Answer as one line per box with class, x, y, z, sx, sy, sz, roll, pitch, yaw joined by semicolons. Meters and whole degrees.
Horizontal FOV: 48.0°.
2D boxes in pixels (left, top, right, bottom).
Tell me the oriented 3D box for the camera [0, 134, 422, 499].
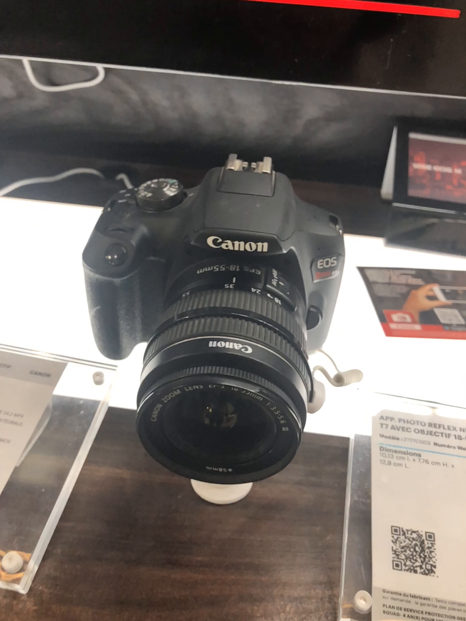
camera;-0.009;-0.005;0.224;0.128;0.099;0.112;5;33;2
